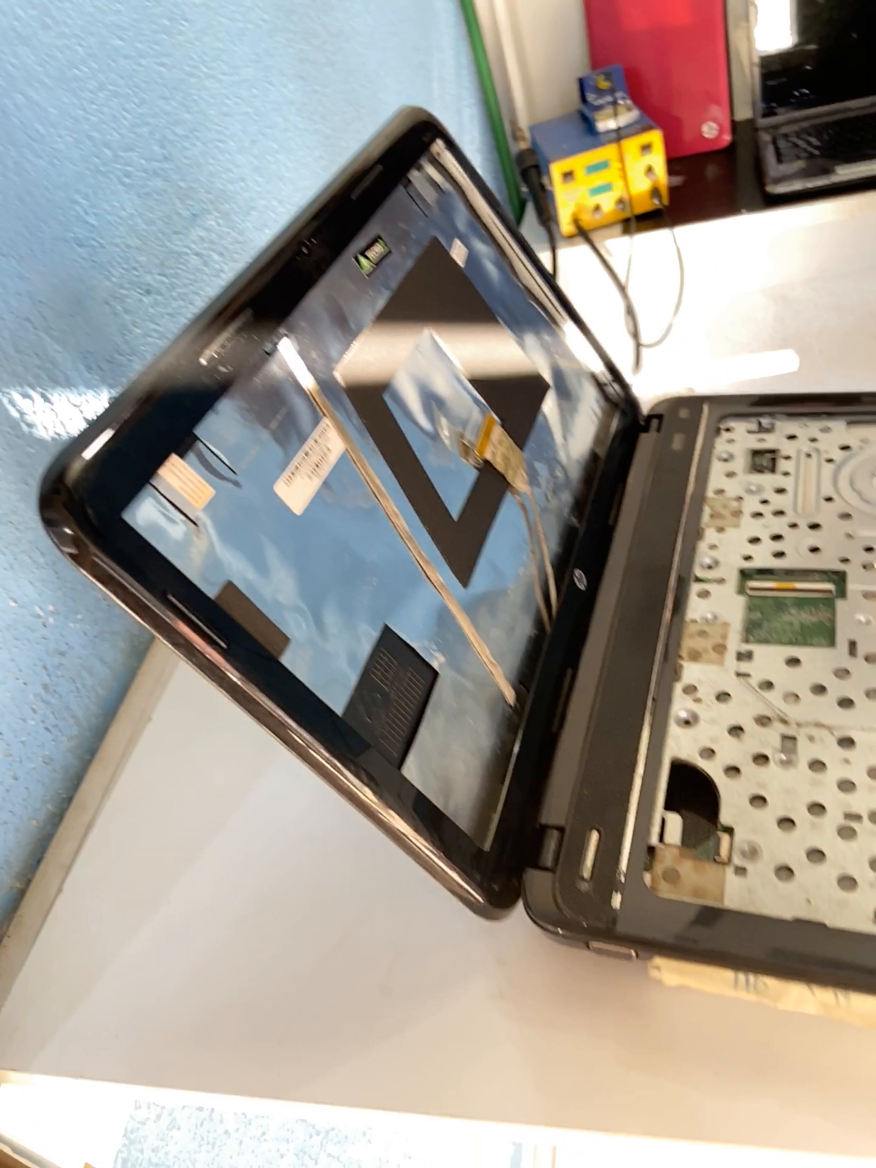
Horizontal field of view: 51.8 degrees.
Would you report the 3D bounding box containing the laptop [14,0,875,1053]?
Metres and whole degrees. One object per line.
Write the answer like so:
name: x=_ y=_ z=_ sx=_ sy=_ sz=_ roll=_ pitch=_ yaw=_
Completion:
laptop: x=0.108 y=-0.065 z=0.355 sx=0.324 sy=0.186 sz=0.336 roll=1 pitch=43 yaw=23
